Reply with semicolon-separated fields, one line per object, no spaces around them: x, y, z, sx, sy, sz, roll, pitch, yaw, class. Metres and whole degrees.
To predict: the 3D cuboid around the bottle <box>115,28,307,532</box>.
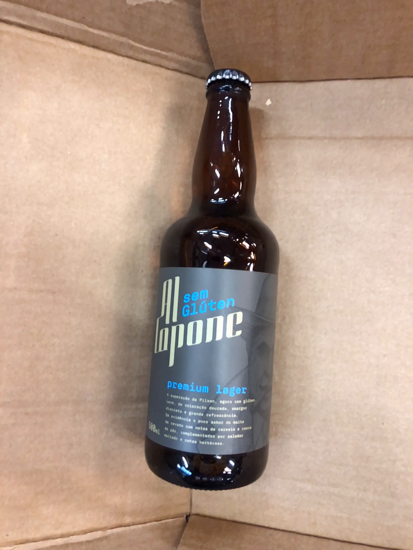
0.004;-0.001;0.251;0.080;0.060;0.240;3;84;-2;bottle
